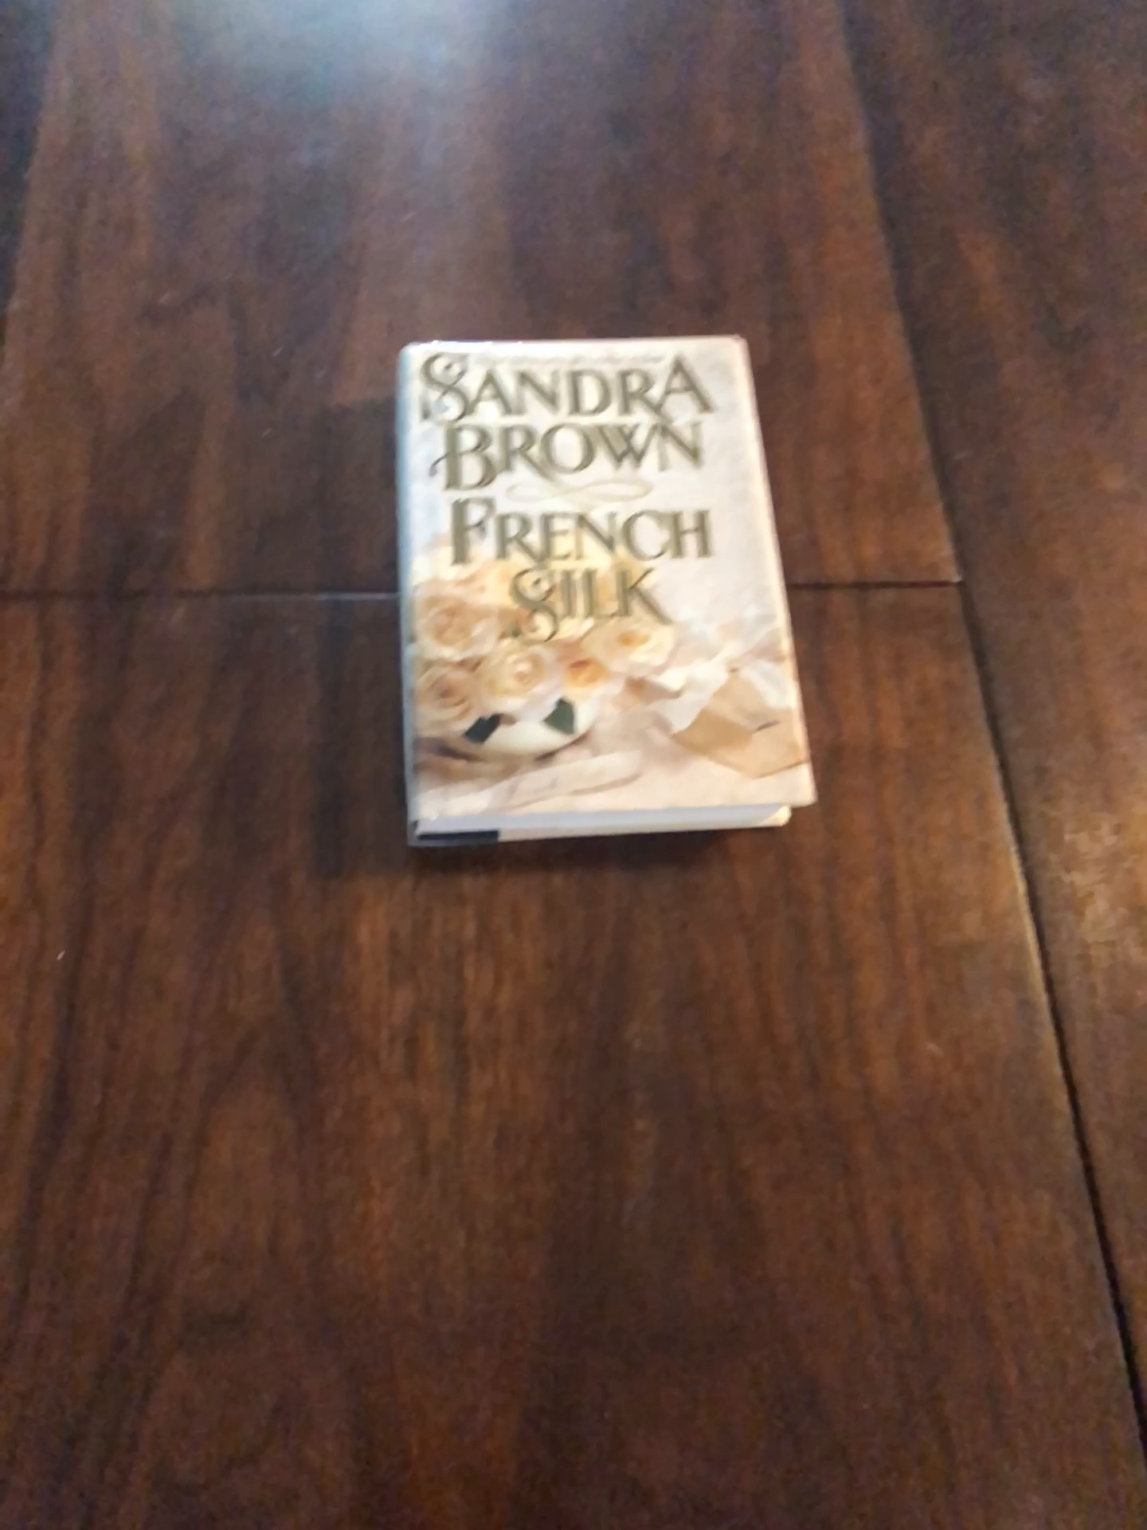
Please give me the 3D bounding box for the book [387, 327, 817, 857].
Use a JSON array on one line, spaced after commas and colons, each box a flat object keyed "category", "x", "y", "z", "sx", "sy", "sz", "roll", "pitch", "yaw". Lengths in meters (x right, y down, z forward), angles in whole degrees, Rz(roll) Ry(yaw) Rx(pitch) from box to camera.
[{"category": "book", "x": 0.004, "y": -0.083, "z": 0.546, "sx": 0.161, "sy": 0.033, "sz": 0.240, "roll": -3, "pitch": 66, "yaw": -5}]
